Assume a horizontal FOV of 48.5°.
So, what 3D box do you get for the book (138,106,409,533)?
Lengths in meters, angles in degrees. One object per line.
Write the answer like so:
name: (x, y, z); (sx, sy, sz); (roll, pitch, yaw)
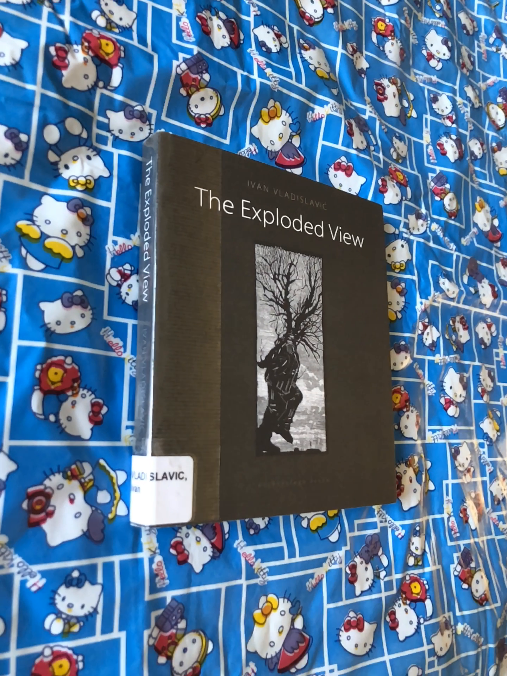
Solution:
book: (0.019, -0.004, 0.269); (0.141, 0.020, 0.170); (7, 80, -35)
